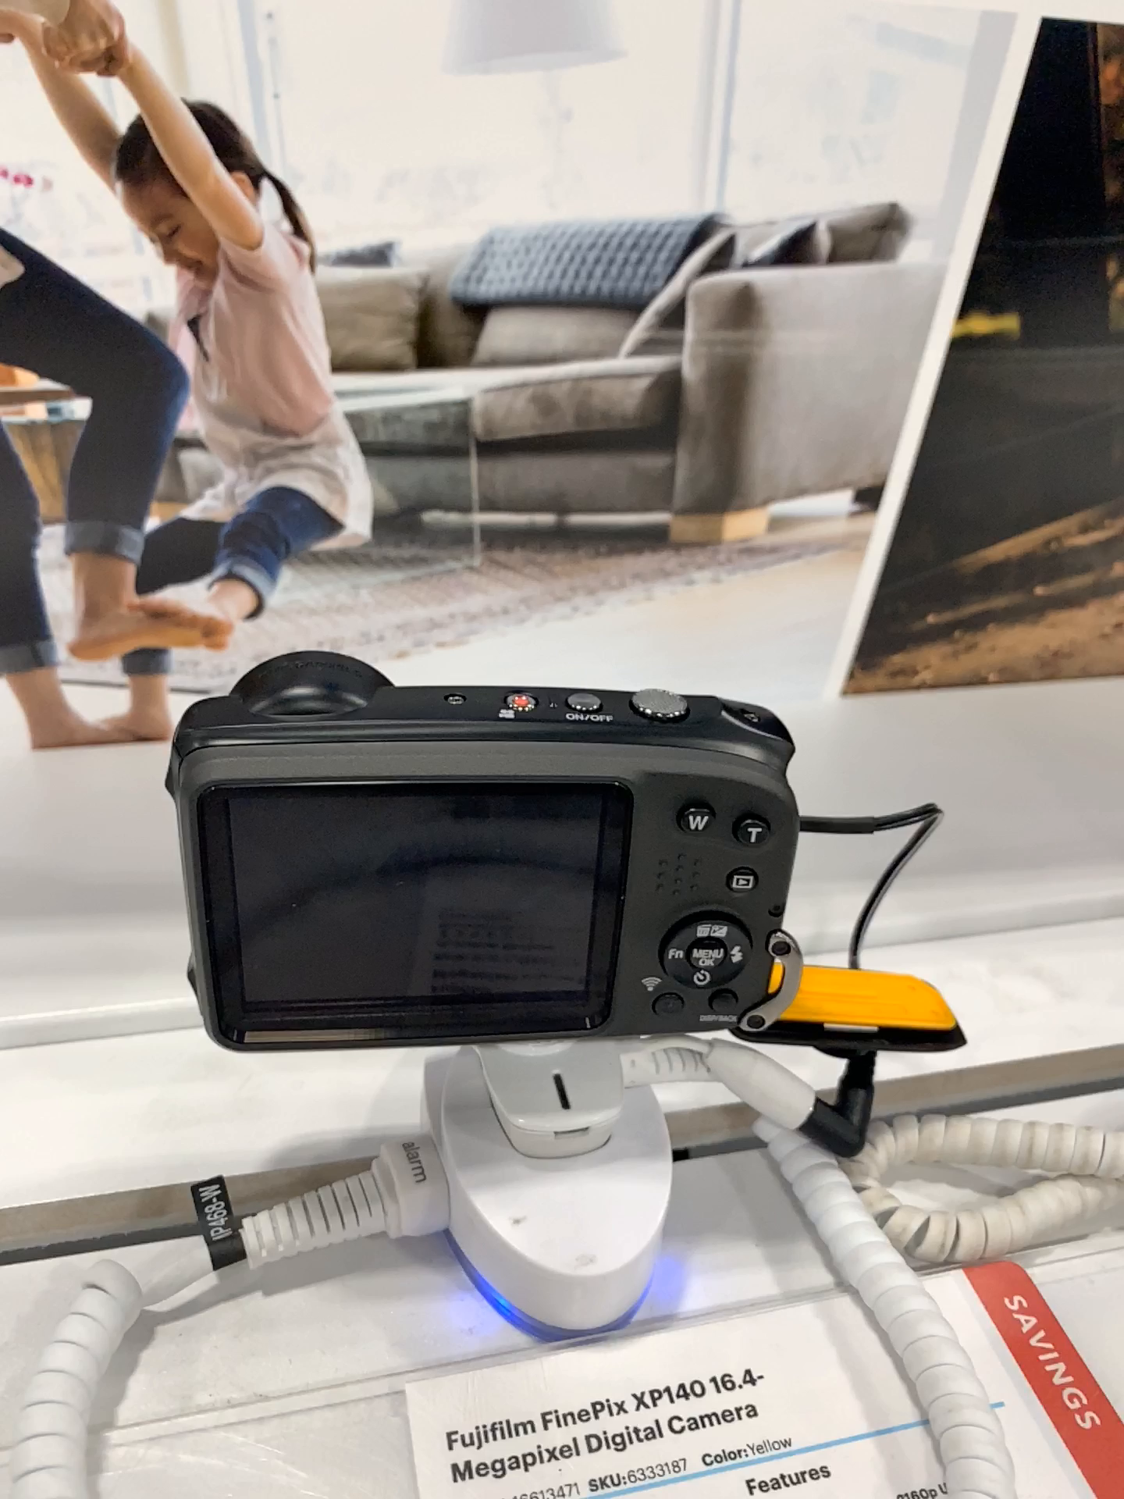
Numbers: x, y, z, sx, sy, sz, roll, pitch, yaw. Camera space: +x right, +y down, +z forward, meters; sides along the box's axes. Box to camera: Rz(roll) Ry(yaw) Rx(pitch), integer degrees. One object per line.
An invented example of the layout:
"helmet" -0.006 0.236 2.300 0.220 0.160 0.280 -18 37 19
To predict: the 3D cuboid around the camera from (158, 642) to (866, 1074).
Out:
"camera" -0.012 0.019 0.211 0.110 0.060 0.040 1 29 -14
